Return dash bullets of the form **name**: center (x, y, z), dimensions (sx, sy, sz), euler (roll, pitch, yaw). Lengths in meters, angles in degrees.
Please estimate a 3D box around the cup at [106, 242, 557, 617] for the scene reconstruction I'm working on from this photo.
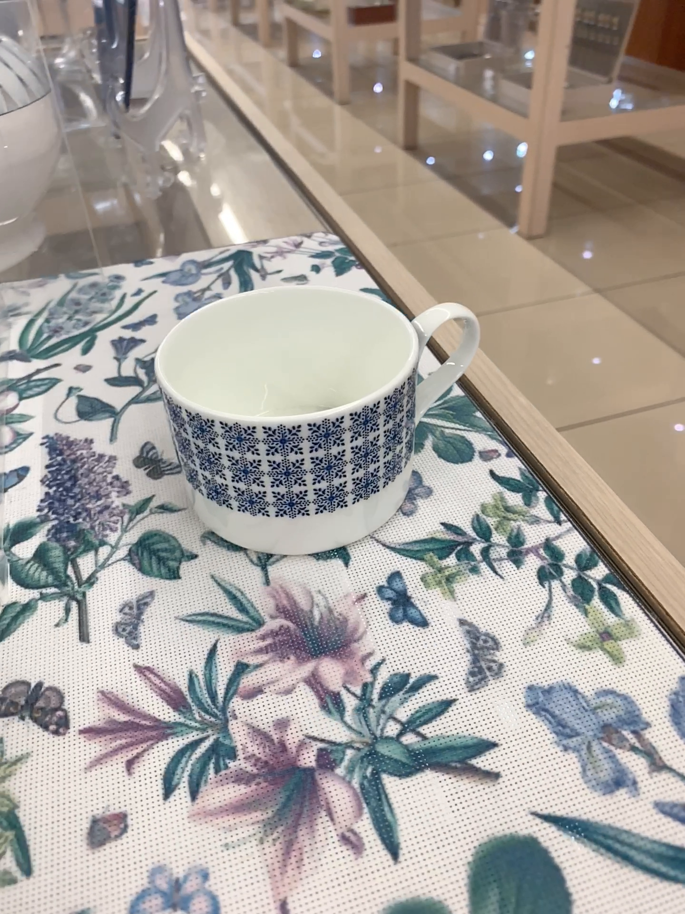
- **cup**: center (-0.005, -0.019, 0.254), dimensions (0.120, 0.060, 0.090), euler (-23, 43, -23)
